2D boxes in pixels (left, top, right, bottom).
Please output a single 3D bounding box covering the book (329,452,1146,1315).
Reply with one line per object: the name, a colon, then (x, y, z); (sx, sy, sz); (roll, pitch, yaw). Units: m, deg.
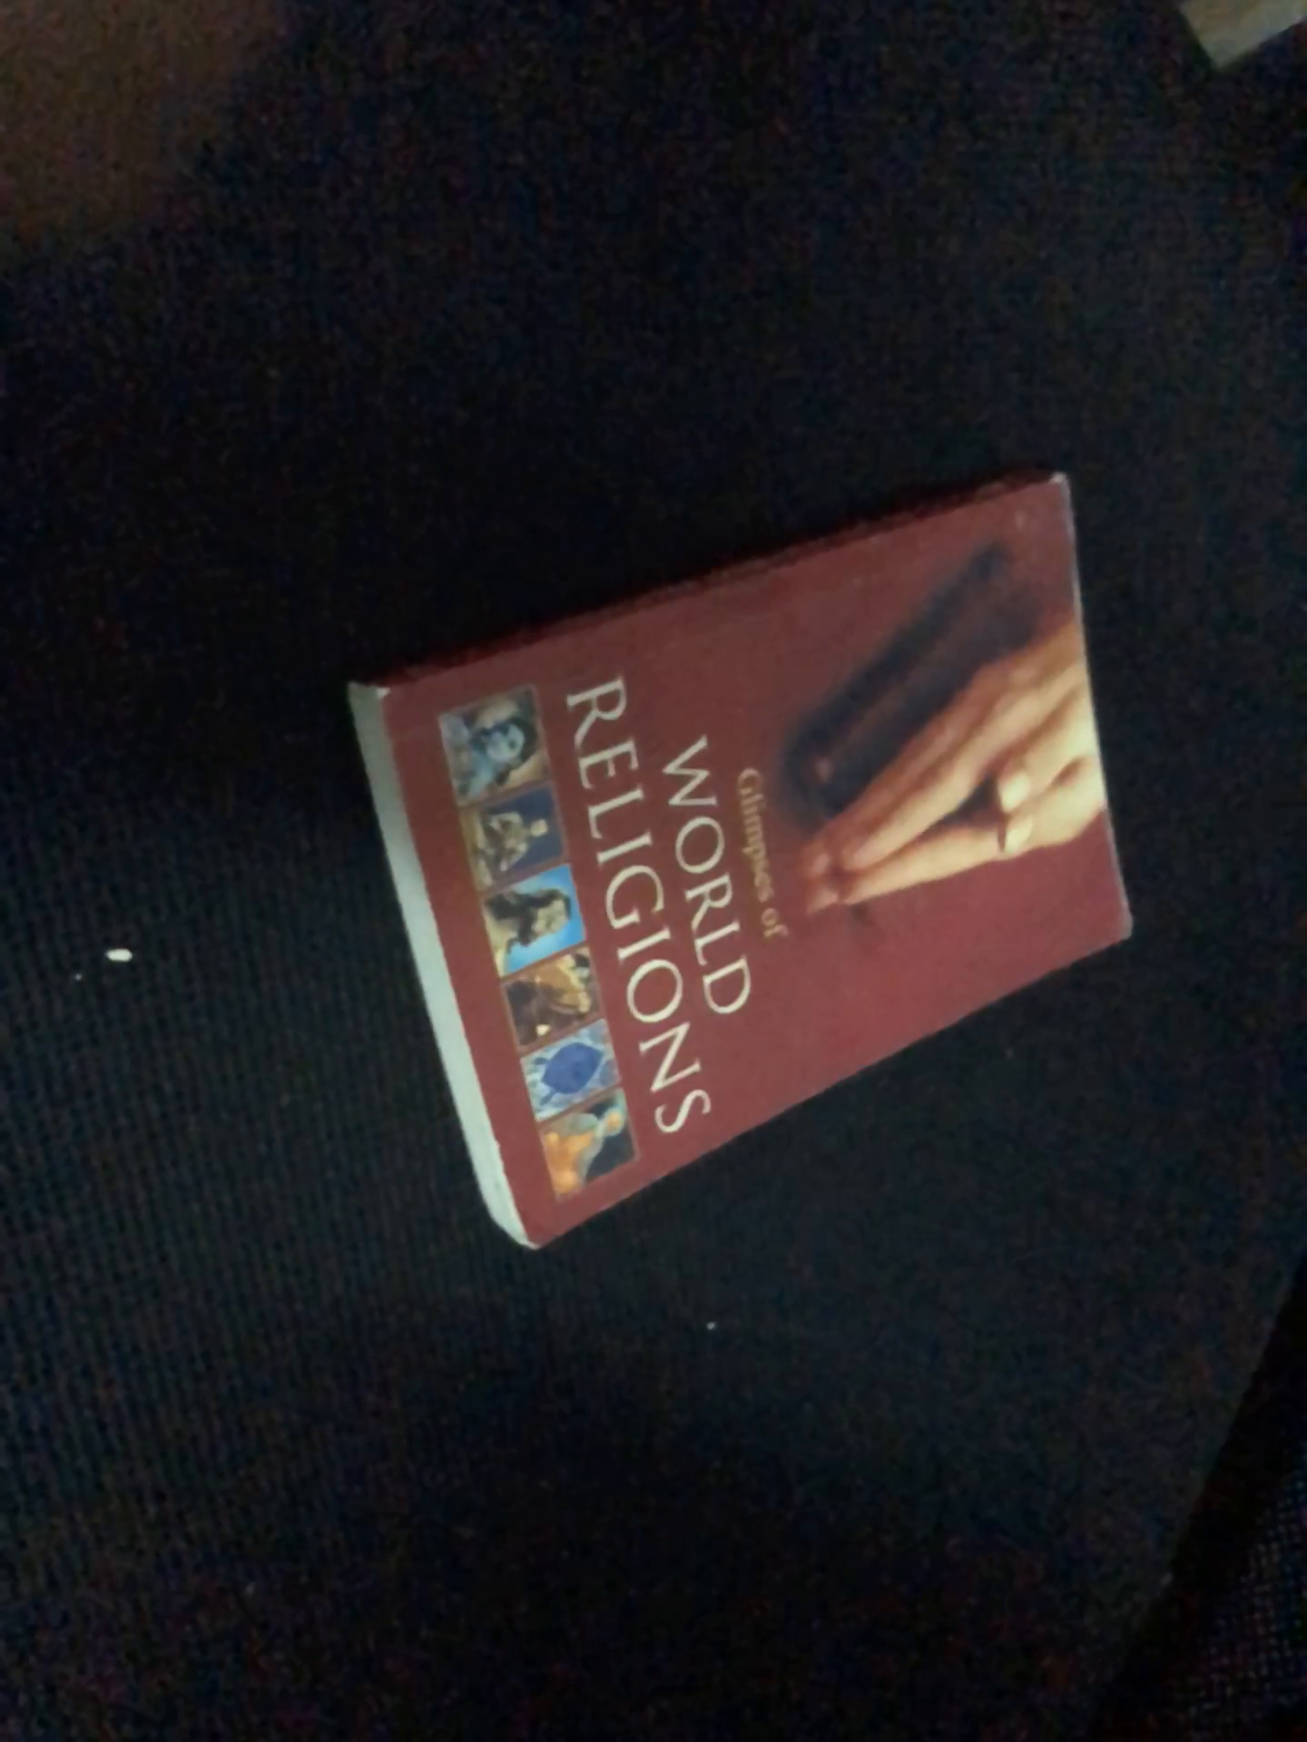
book: (0.038, -0.006, 0.343); (0.201, 0.020, 0.140); (-23, 114, -29)
